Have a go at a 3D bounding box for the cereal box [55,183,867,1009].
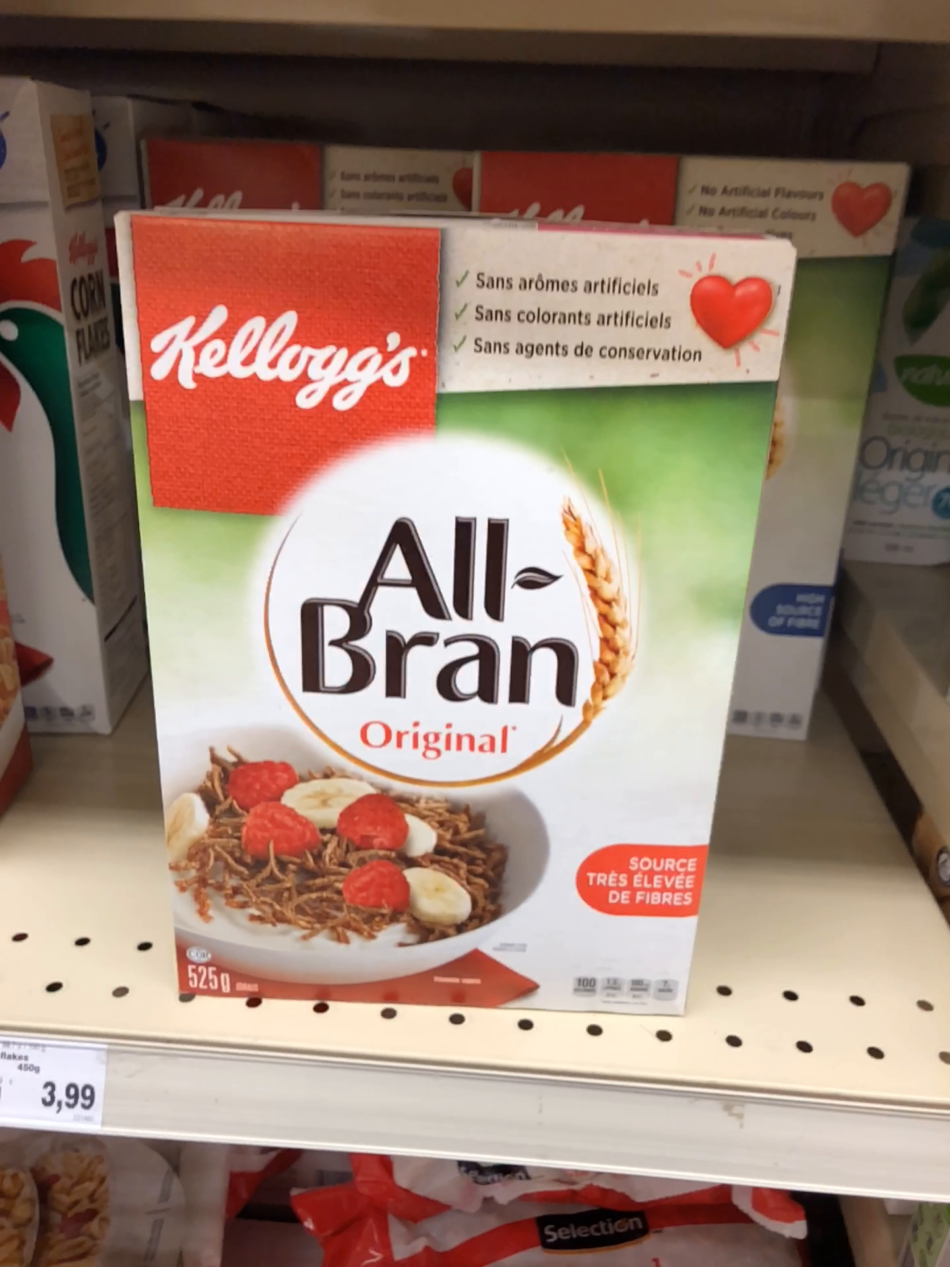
[{"bbox_3d":[-0.007,-0.002,0.318,0.190,0.238,0.050,2,24,1],"label":"cereal box"}]
